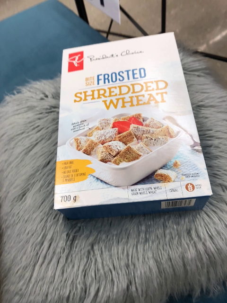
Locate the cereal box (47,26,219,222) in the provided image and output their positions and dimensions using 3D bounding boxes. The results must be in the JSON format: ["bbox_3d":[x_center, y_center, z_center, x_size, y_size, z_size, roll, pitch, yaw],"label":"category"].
[{"bbox_3d":[0.014,-0.061,0.403,0.200,0.070,0.311,-5,60,2],"label":"cereal box"}]
